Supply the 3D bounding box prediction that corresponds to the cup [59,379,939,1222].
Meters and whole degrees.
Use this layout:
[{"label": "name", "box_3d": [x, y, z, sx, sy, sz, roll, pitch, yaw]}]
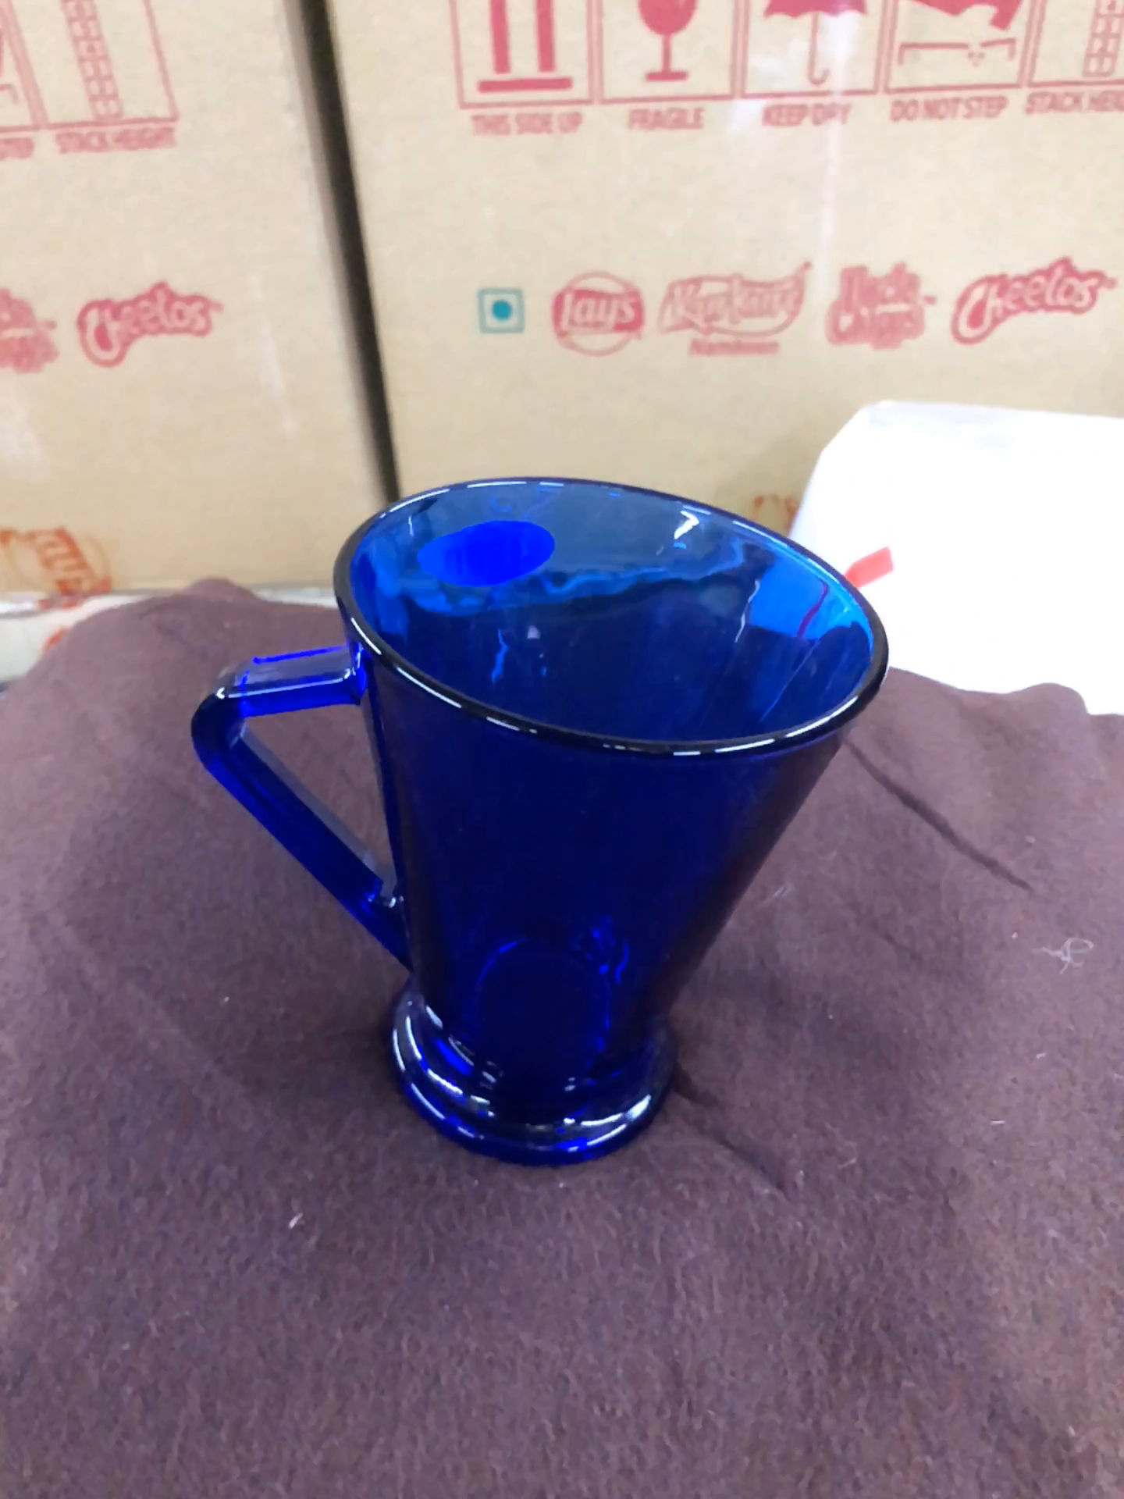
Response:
[{"label": "cup", "box_3d": [-0.008, 0.012, 0.217, 0.110, 0.109, 0.070, 10, 43, 3]}]
